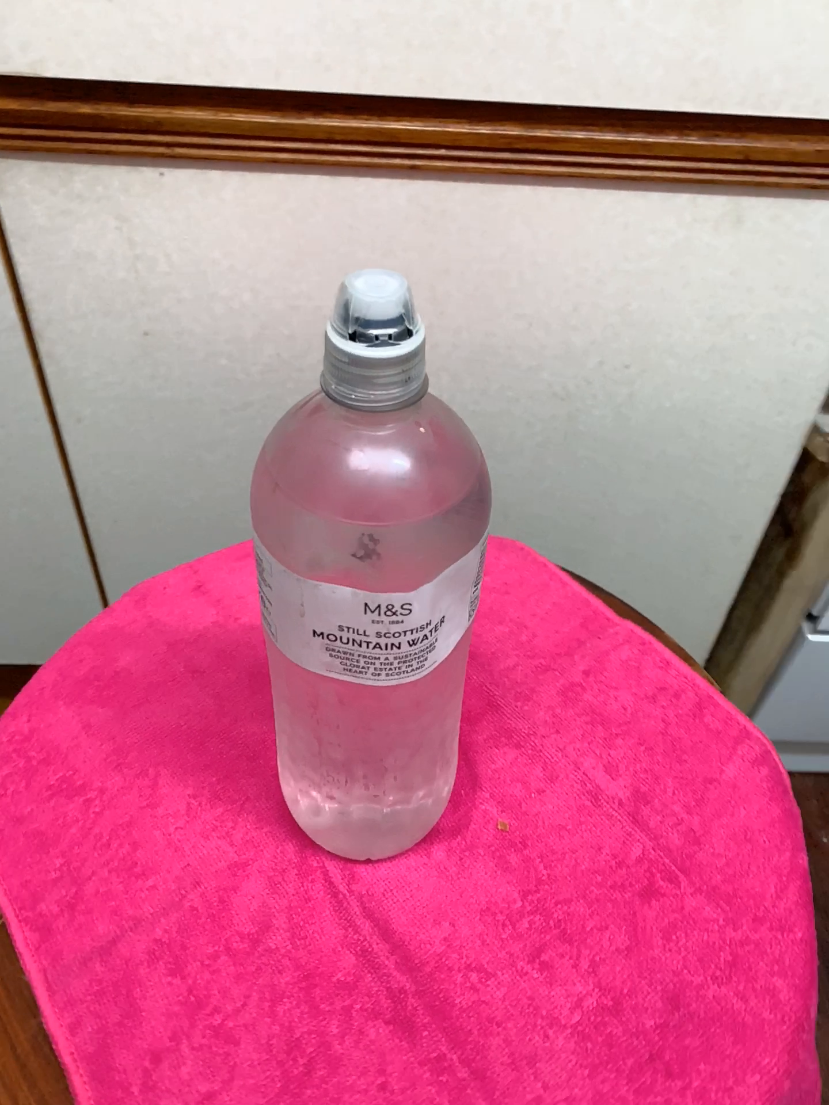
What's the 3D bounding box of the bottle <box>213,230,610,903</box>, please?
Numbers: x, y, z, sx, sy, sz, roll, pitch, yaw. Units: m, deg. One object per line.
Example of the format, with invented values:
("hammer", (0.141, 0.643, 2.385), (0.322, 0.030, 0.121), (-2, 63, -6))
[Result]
("bottle", (-0.012, 0.025, 0.322), (0.090, 0.258, 0.081), (-9, 45, -14))
